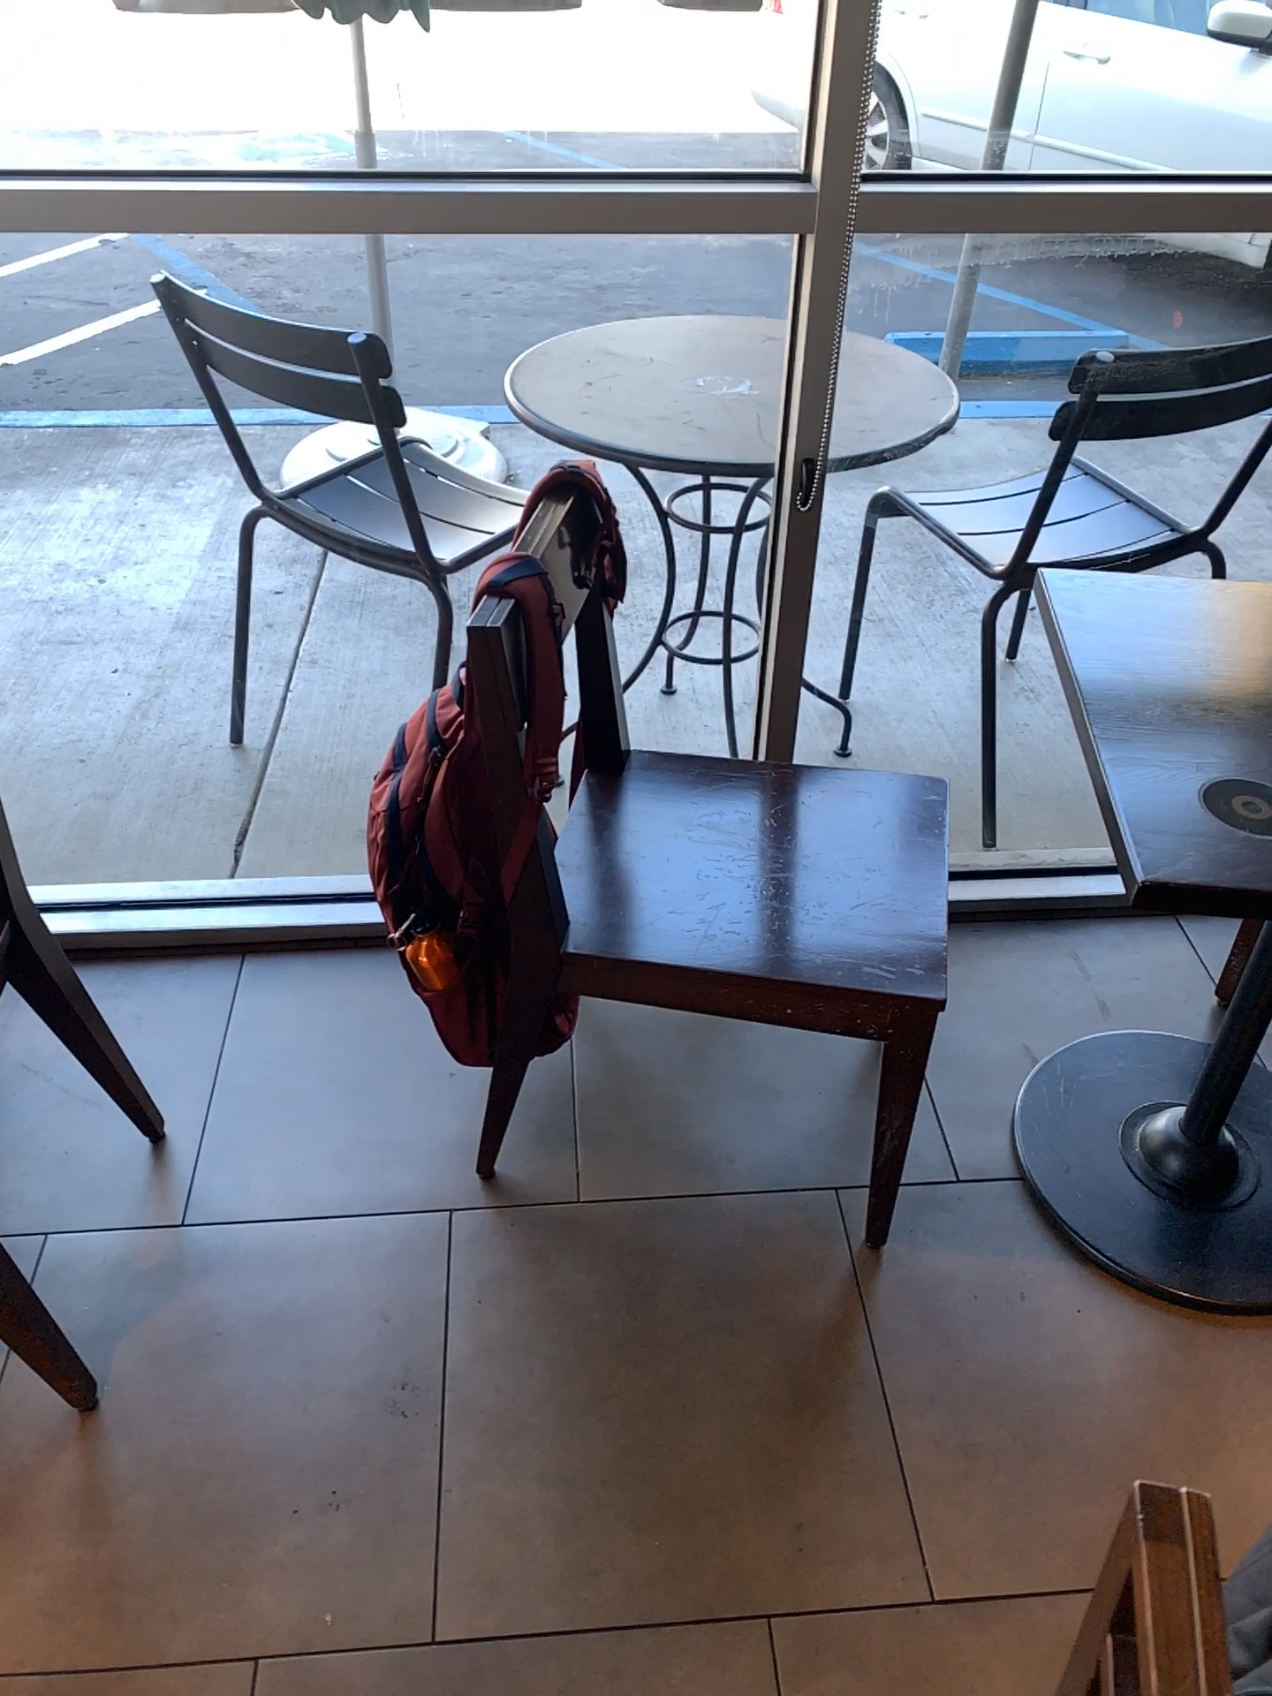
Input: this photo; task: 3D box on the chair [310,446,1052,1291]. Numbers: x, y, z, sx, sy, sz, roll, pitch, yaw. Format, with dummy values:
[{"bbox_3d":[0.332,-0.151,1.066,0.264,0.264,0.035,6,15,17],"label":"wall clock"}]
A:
[{"bbox_3d":[0.080,0.014,1.813,0.740,0.855,0.694,7,39,7],"label":"chair"}]
